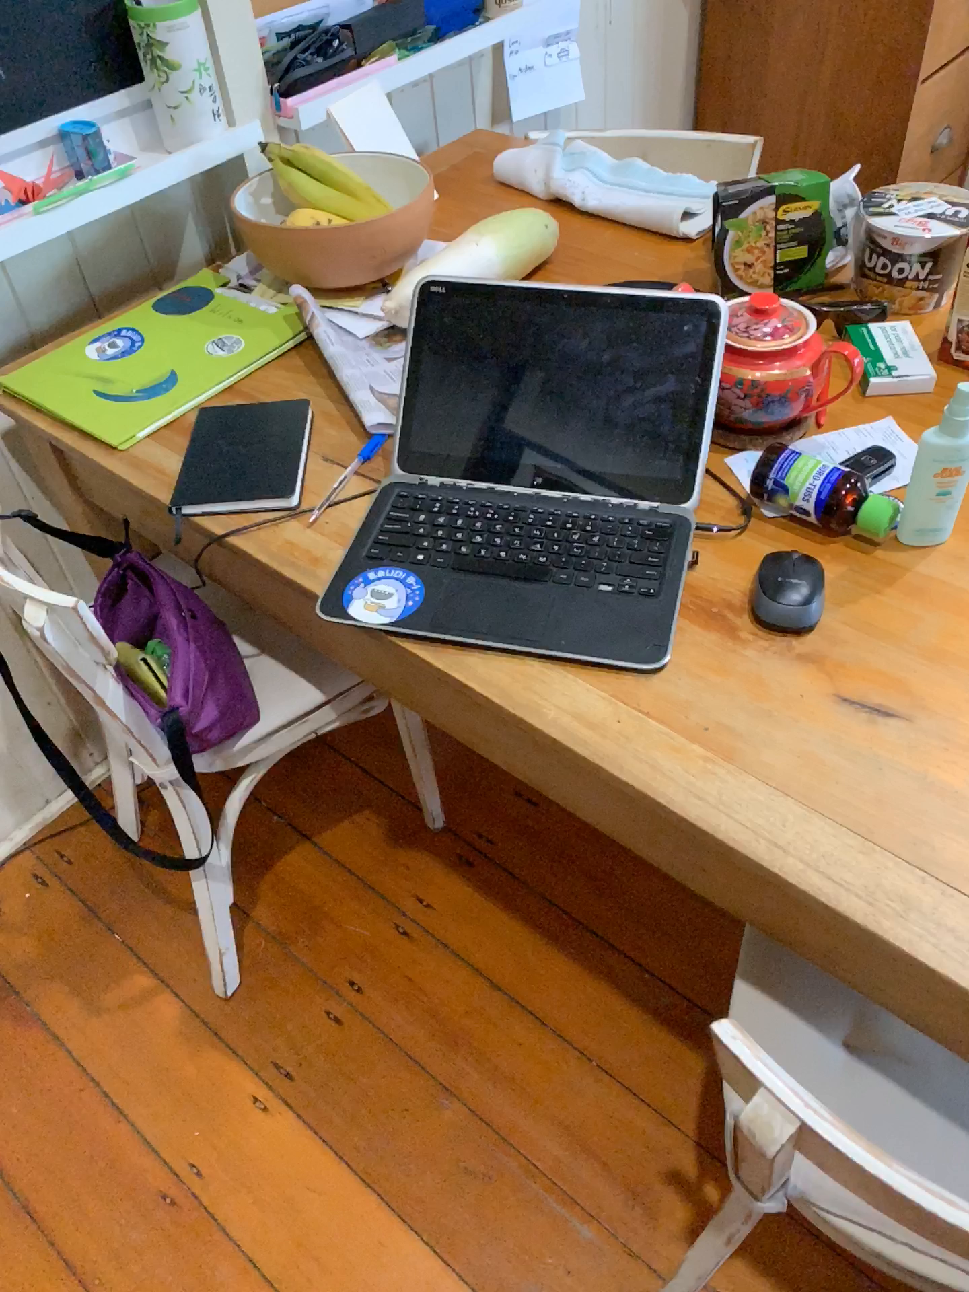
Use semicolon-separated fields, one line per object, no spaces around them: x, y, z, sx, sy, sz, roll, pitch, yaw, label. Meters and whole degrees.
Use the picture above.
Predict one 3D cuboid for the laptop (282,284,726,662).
0.039;-0.175;0.900;0.303;0.139;0.340;8;48;13;laptop
